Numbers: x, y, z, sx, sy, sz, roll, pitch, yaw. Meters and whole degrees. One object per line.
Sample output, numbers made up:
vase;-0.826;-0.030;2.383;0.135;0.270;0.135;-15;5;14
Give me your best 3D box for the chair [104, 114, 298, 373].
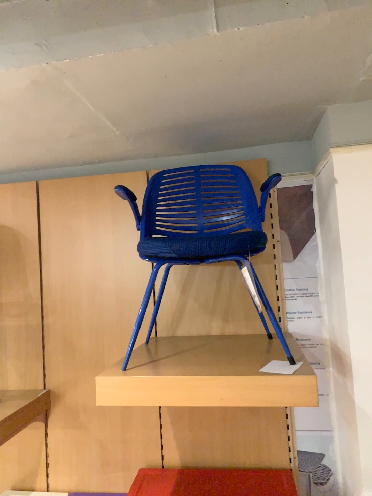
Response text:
chair;0.058;-0.002;1.478;0.570;0.791;0.550;-4;-4;5
